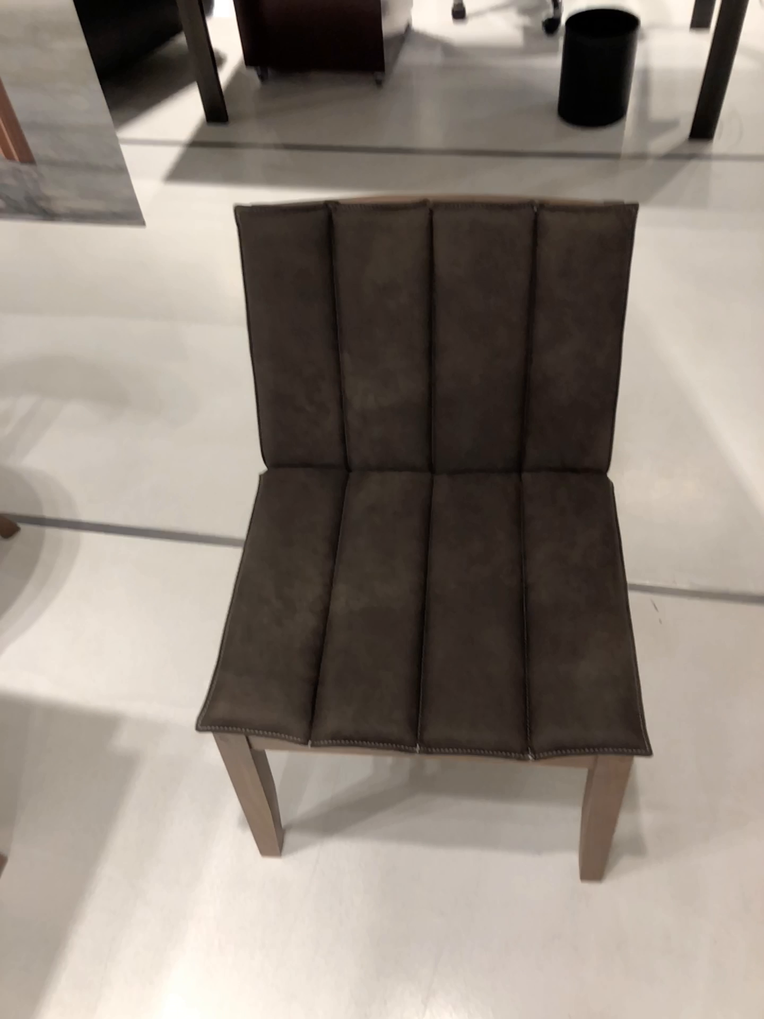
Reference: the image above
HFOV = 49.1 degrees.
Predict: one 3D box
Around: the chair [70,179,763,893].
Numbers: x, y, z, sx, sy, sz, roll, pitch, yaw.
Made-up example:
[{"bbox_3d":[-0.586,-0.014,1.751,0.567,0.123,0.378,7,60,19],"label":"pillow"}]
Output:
[{"bbox_3d":[0.080,0.082,1.109,0.540,0.776,0.573,2,53,7],"label":"chair"}]
